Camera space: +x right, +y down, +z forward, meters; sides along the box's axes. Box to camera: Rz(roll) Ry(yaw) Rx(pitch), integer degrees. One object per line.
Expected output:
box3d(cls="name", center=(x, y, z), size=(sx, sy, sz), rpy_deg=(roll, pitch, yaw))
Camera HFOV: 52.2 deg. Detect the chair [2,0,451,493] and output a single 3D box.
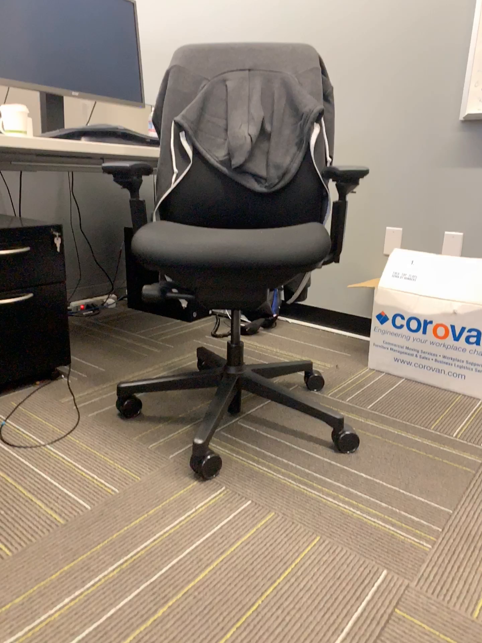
box3d(cls="chair", center=(-0.019, -0.284, 1.385), size=(0.750, 1.076, 0.884), rpy_deg=(3, 16, 4))
